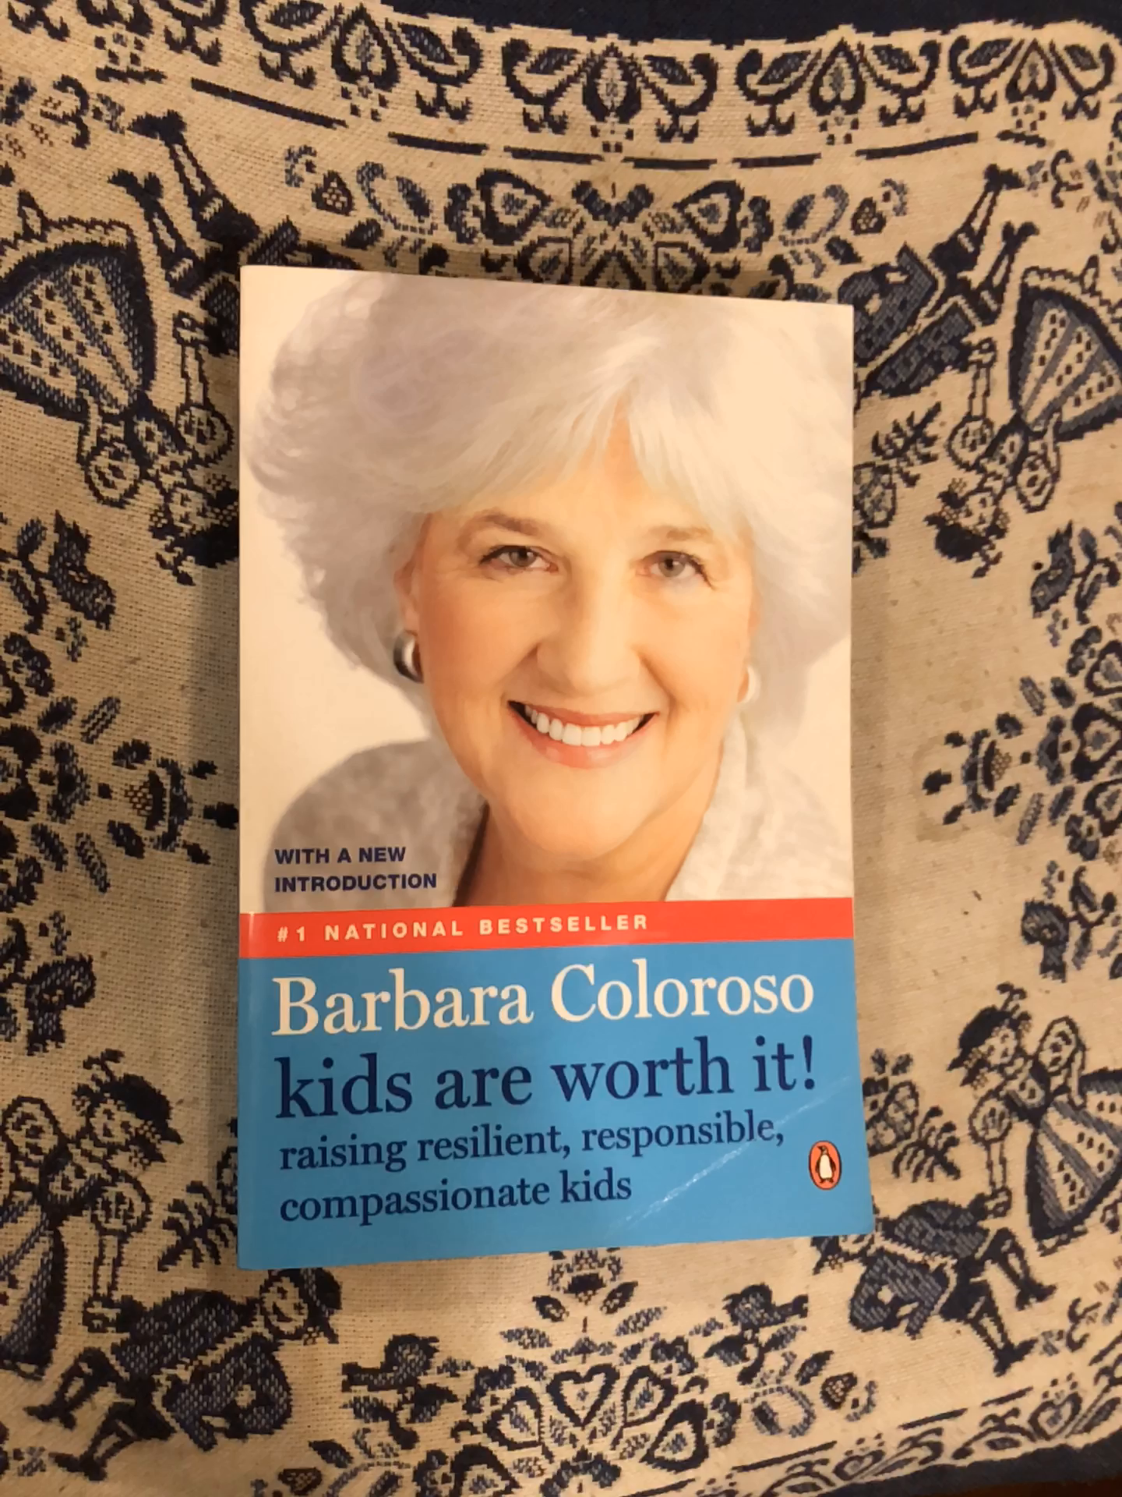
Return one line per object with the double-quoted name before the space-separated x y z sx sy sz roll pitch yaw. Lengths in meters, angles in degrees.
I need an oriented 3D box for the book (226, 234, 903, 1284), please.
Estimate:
"book" 0.000 0.003 0.300 0.150 0.050 0.220 1 89 -11
